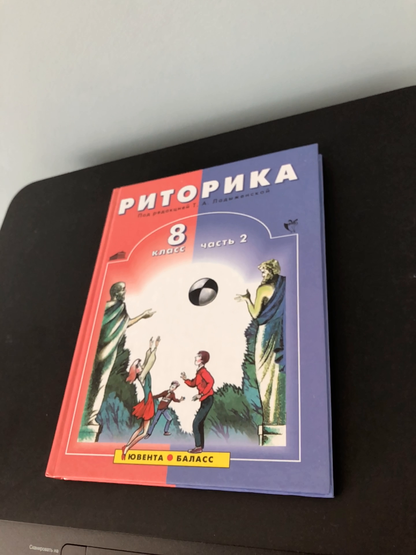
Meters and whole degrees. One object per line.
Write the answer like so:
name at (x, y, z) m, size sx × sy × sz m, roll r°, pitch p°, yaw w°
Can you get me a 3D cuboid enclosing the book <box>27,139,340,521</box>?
book at (-0.011, 0.020, 0.291) m, size 0.170 × 0.020 × 0.221 m, roll -7°, pitch 59°, yaw 22°
